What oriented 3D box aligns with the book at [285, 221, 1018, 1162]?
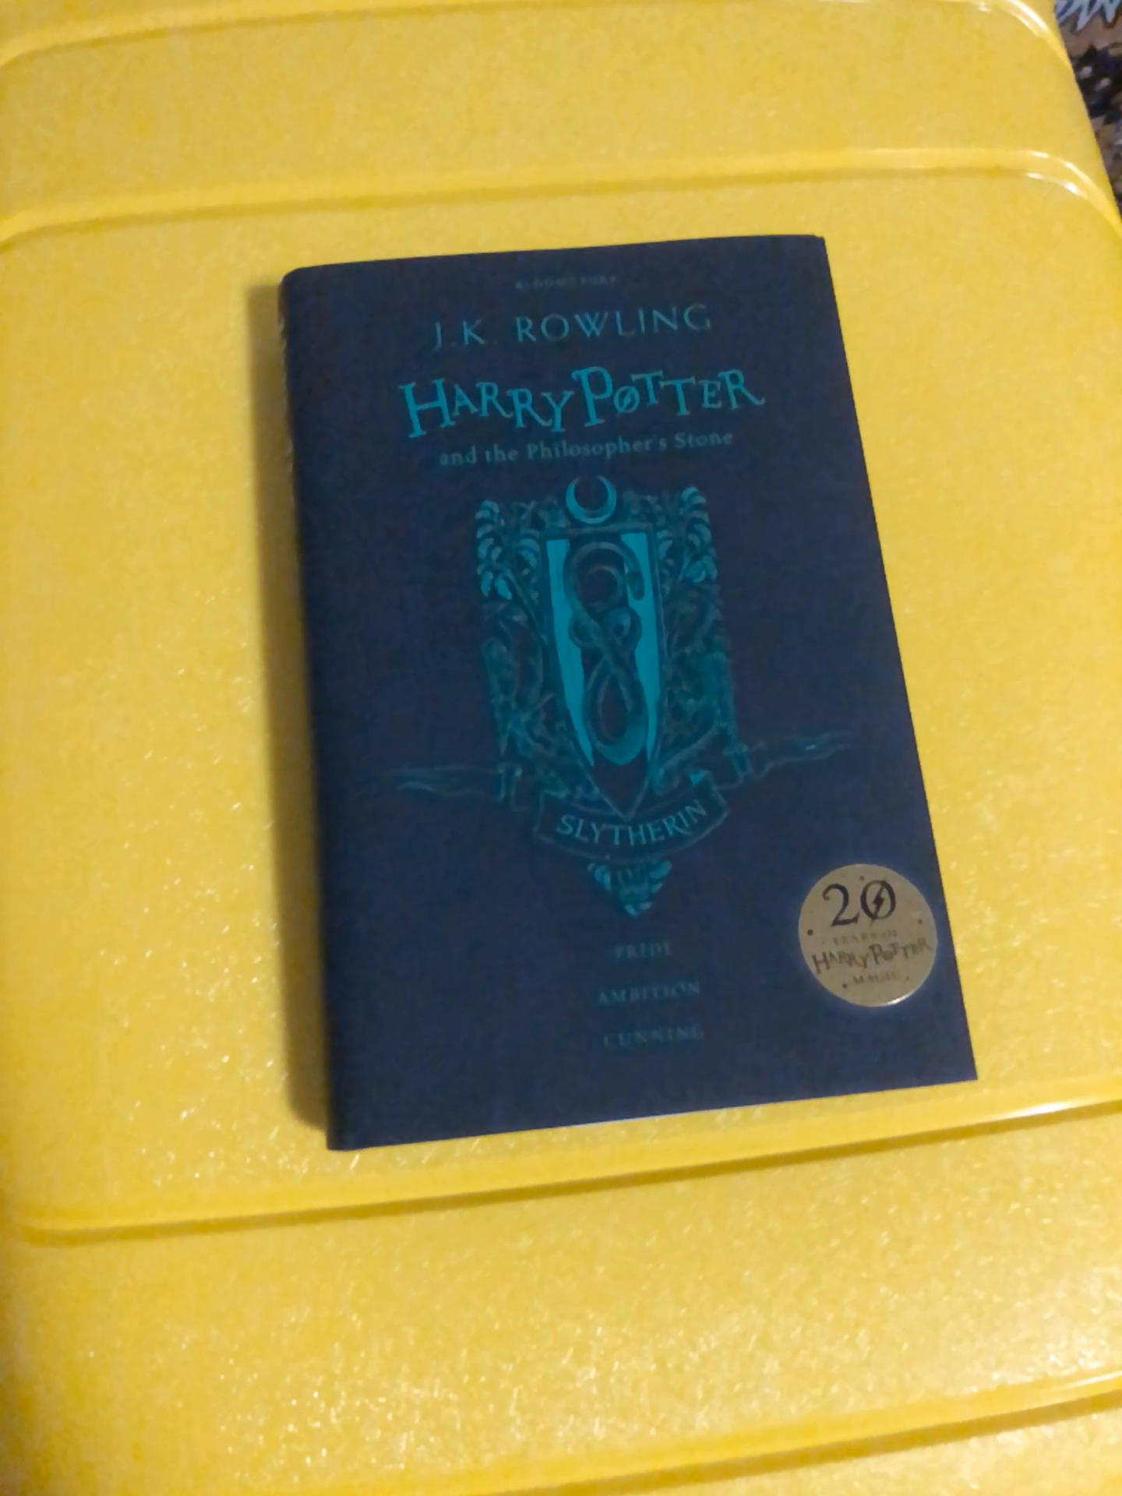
[{"bbox_3d":[0.013,-0.020,0.287,0.136,0.030,0.205,-5,75,-4],"label":"book"}]
